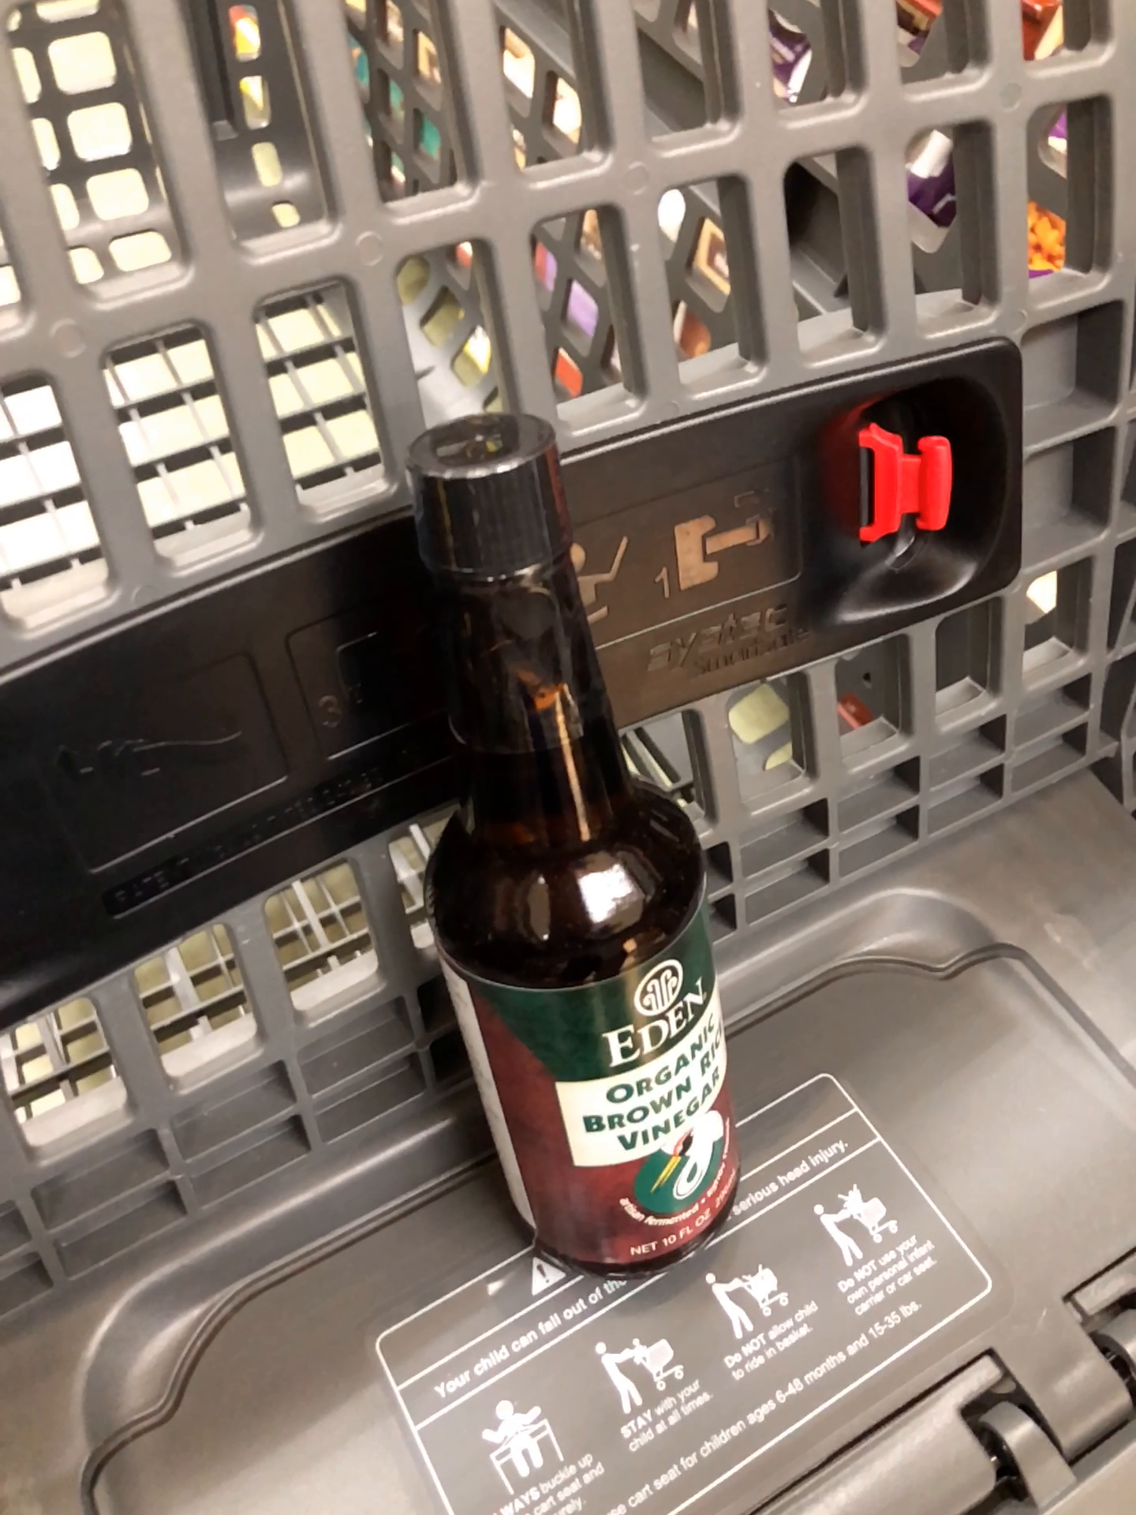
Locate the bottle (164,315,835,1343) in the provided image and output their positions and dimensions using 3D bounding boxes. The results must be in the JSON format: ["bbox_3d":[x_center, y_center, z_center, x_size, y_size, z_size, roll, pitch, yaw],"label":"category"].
[{"bbox_3d":[-0.005,0.019,0.259,0.070,0.190,0.070,-10,32,6],"label":"bottle"}]
